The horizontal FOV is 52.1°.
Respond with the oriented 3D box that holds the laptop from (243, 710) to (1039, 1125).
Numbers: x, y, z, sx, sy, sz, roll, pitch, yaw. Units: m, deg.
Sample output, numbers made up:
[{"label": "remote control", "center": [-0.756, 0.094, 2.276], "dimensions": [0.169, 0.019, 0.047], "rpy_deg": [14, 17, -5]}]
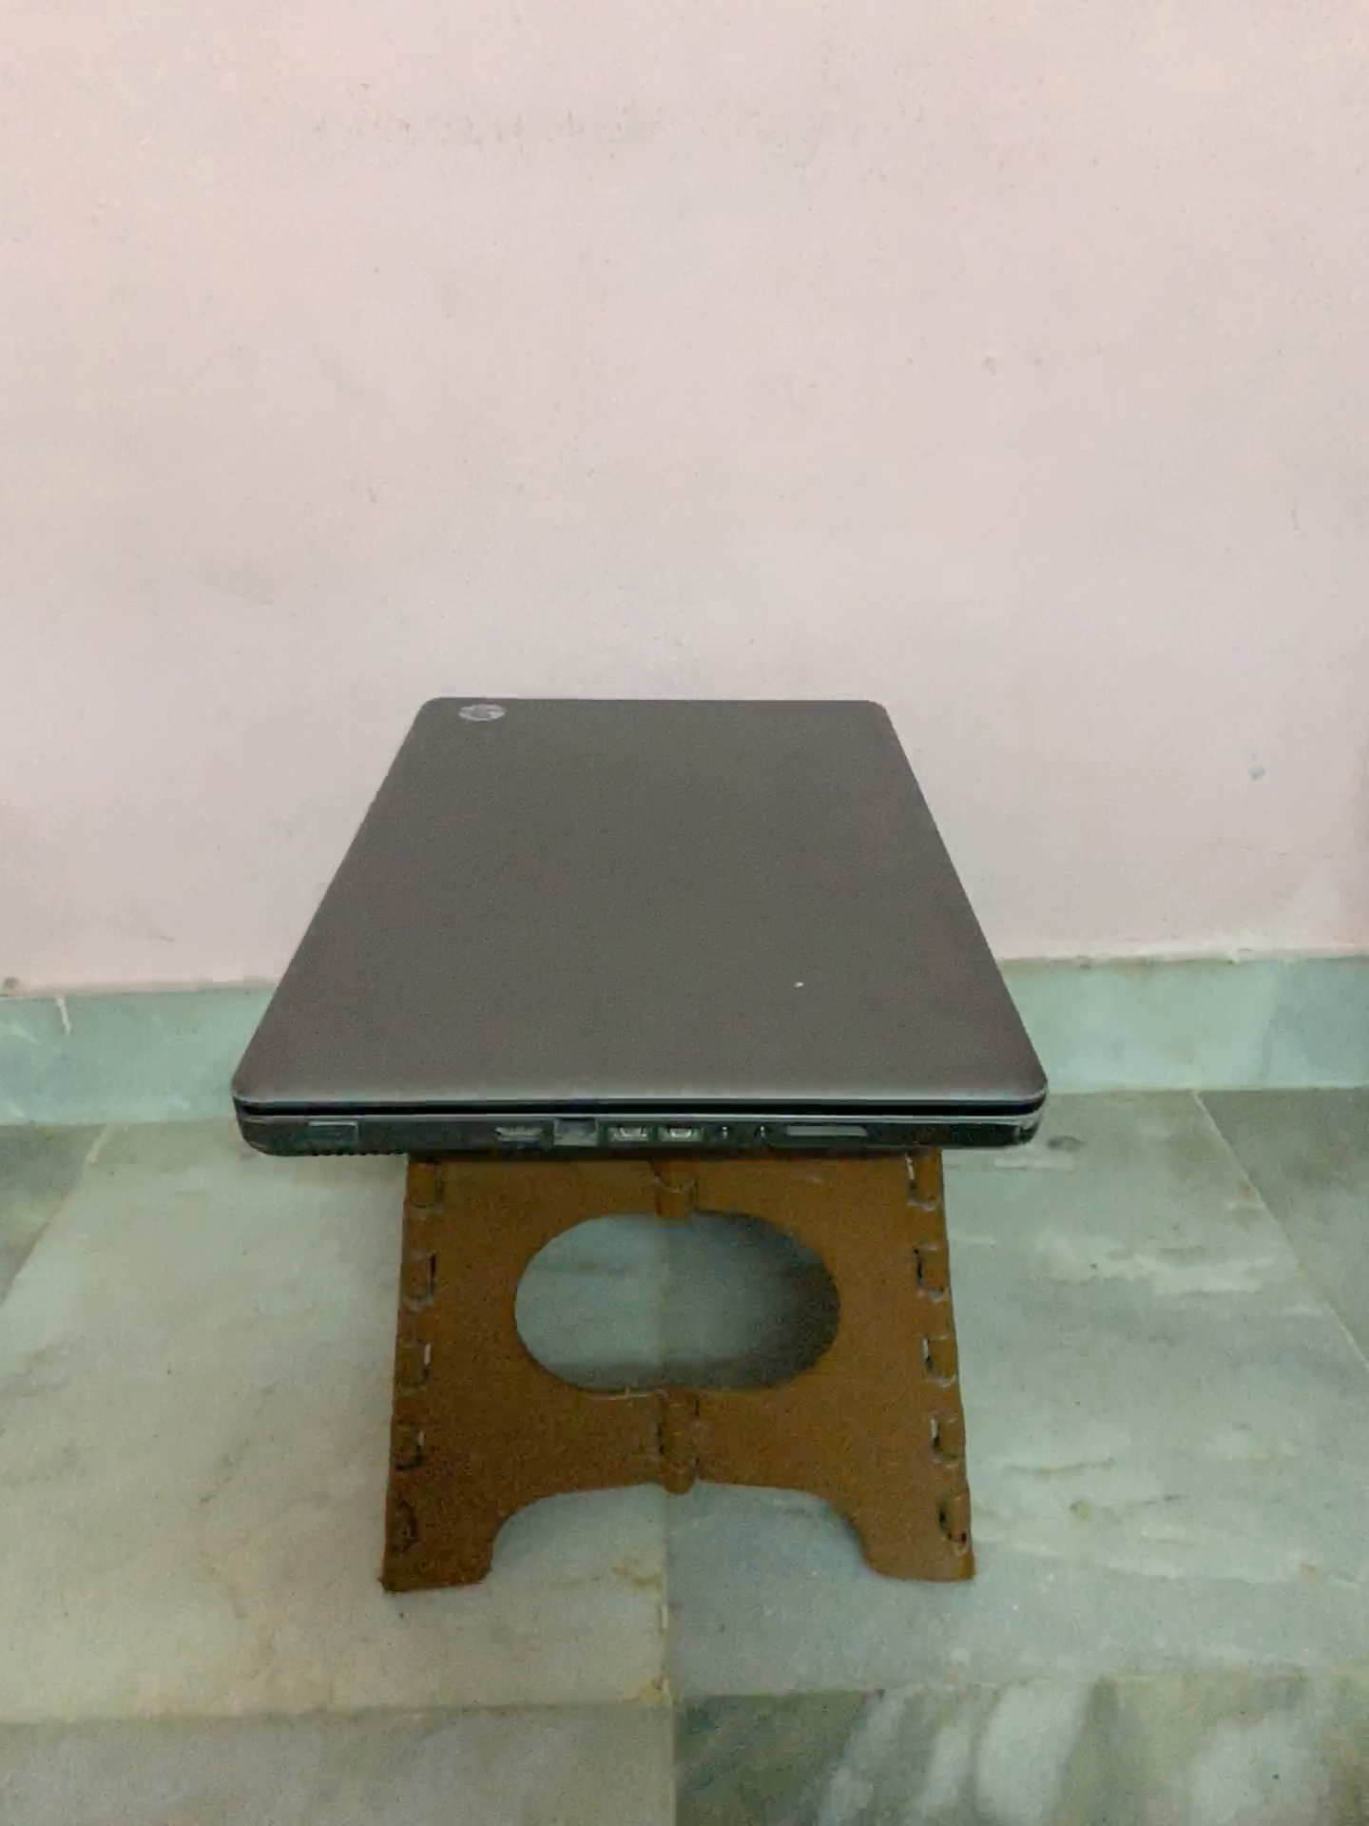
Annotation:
[{"label": "laptop", "center": [-0.014, -0.023, 0.596], "dimensions": [0.242, 0.003, 0.380], "rpy_deg": [0, 27, -1]}]
